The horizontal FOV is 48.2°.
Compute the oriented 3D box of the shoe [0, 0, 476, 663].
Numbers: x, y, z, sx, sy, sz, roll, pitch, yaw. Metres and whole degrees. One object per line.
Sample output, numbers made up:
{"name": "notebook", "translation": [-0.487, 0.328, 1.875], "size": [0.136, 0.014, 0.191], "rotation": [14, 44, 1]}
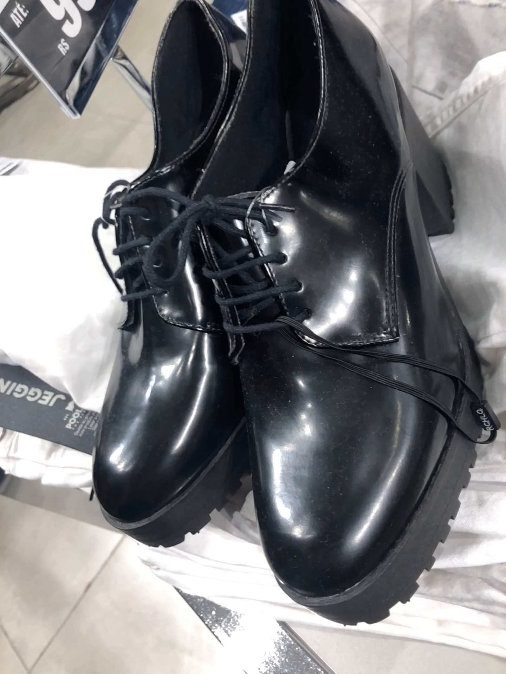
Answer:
{"name": "shoe", "translation": [0.025, -0.026, 0.247], "size": [0.100, 0.149, 0.261], "rotation": [-9, 52, 33]}

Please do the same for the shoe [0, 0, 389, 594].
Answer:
{"name": "shoe", "translation": [-0.031, -0.032, 0.298], "size": [0.100, 0.159, 0.260], "rotation": [-1, 56, 37]}
